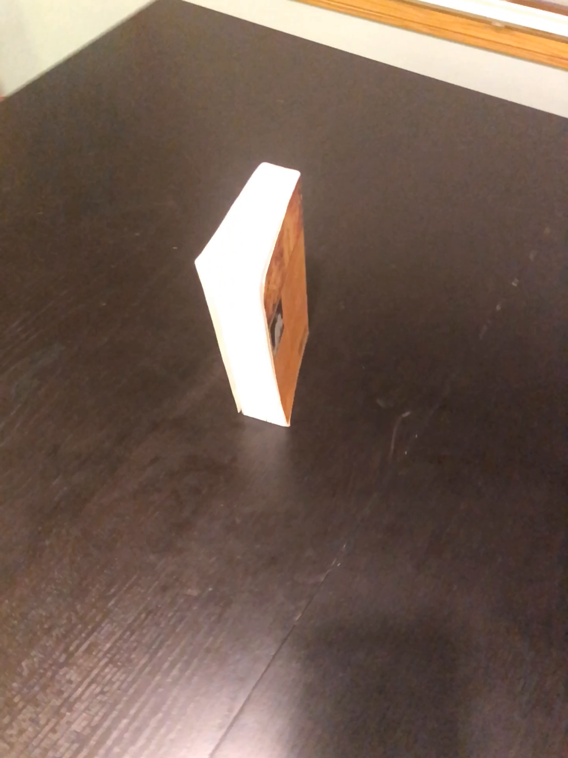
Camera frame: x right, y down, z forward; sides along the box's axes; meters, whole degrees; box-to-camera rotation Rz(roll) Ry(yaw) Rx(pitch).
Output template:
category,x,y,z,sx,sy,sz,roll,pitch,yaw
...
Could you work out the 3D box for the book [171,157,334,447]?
category,x,y,z,sx,sy,sz,roll,pitch,yaw
book,-0.012,-0.052,0.477,0.059,0.174,0.126,15,57,16
